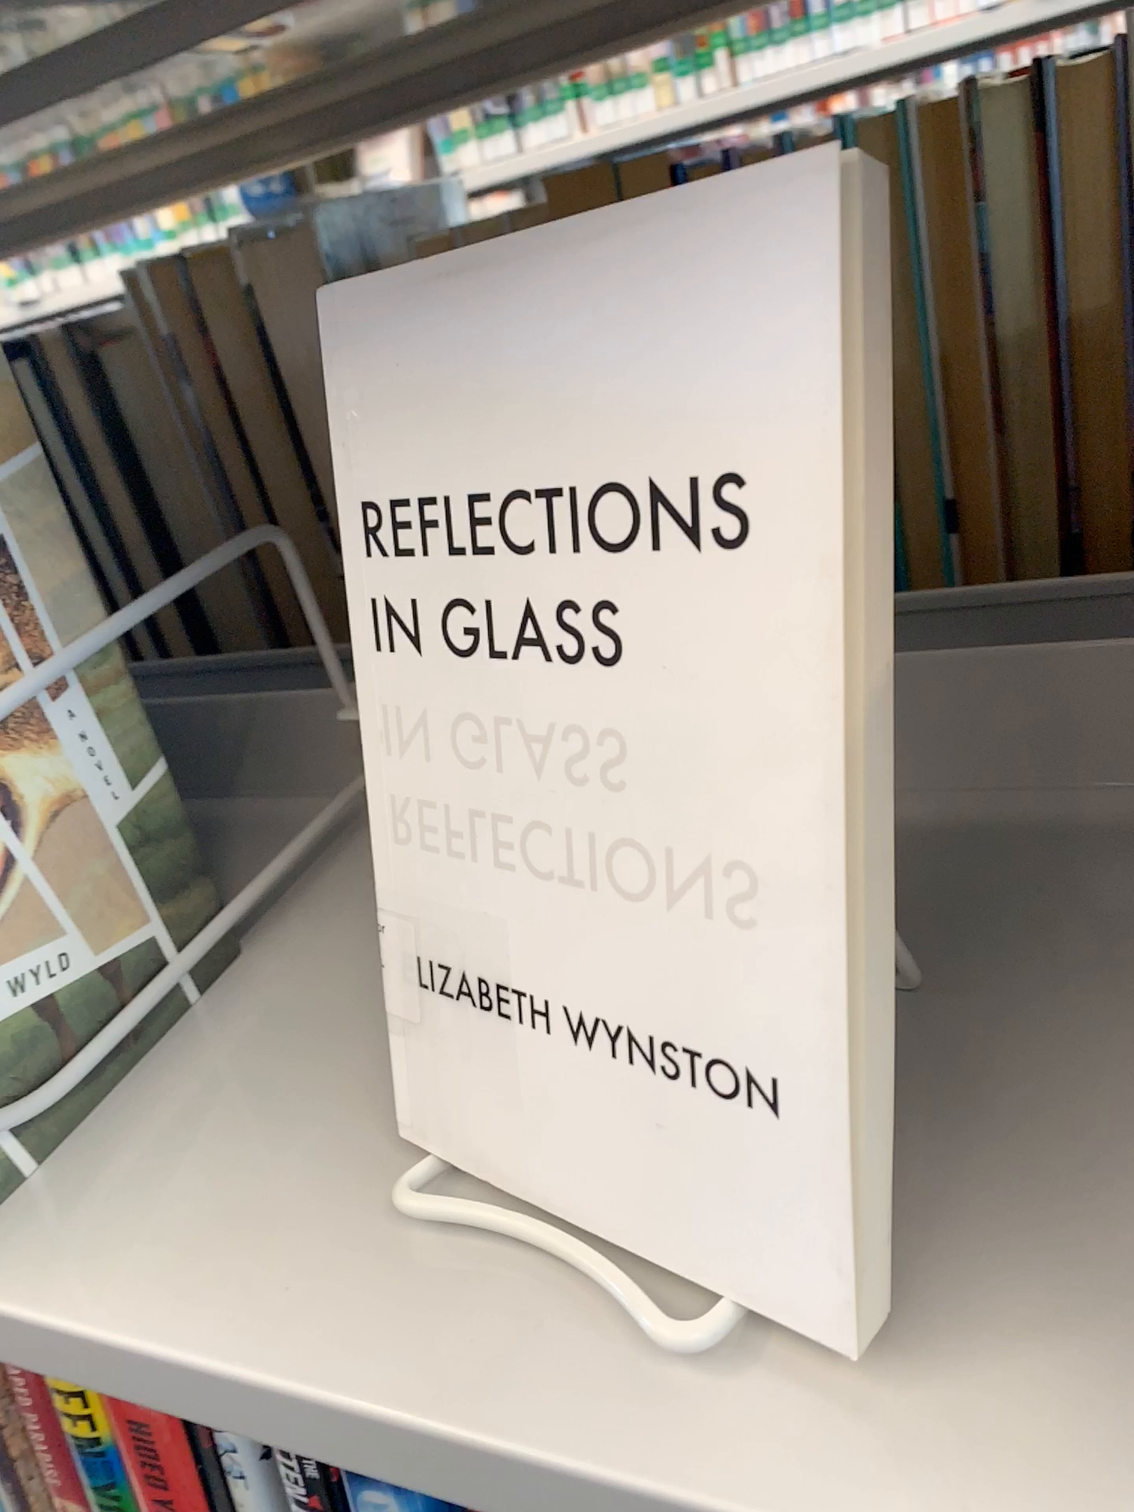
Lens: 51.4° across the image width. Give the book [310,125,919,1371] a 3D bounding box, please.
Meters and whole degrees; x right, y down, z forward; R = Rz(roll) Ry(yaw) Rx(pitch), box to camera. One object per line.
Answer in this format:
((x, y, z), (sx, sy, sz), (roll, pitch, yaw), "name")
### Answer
((0.005, 0.001, 0.231), (0.128, 0.196, 0.018), (8, 16, 42), "book")
